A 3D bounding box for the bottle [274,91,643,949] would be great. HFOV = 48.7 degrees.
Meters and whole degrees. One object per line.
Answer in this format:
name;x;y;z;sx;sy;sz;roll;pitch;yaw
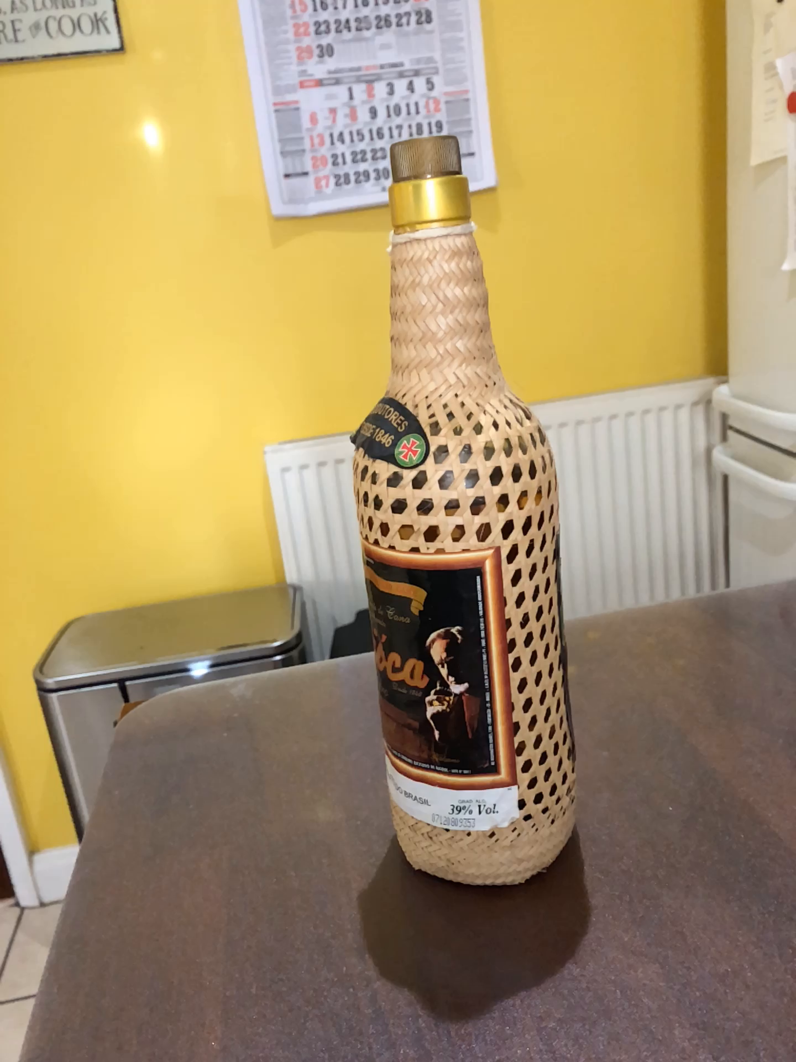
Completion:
bottle;0.031;-0.002;0.388;0.090;0.328;0.100;-15;18;-24
